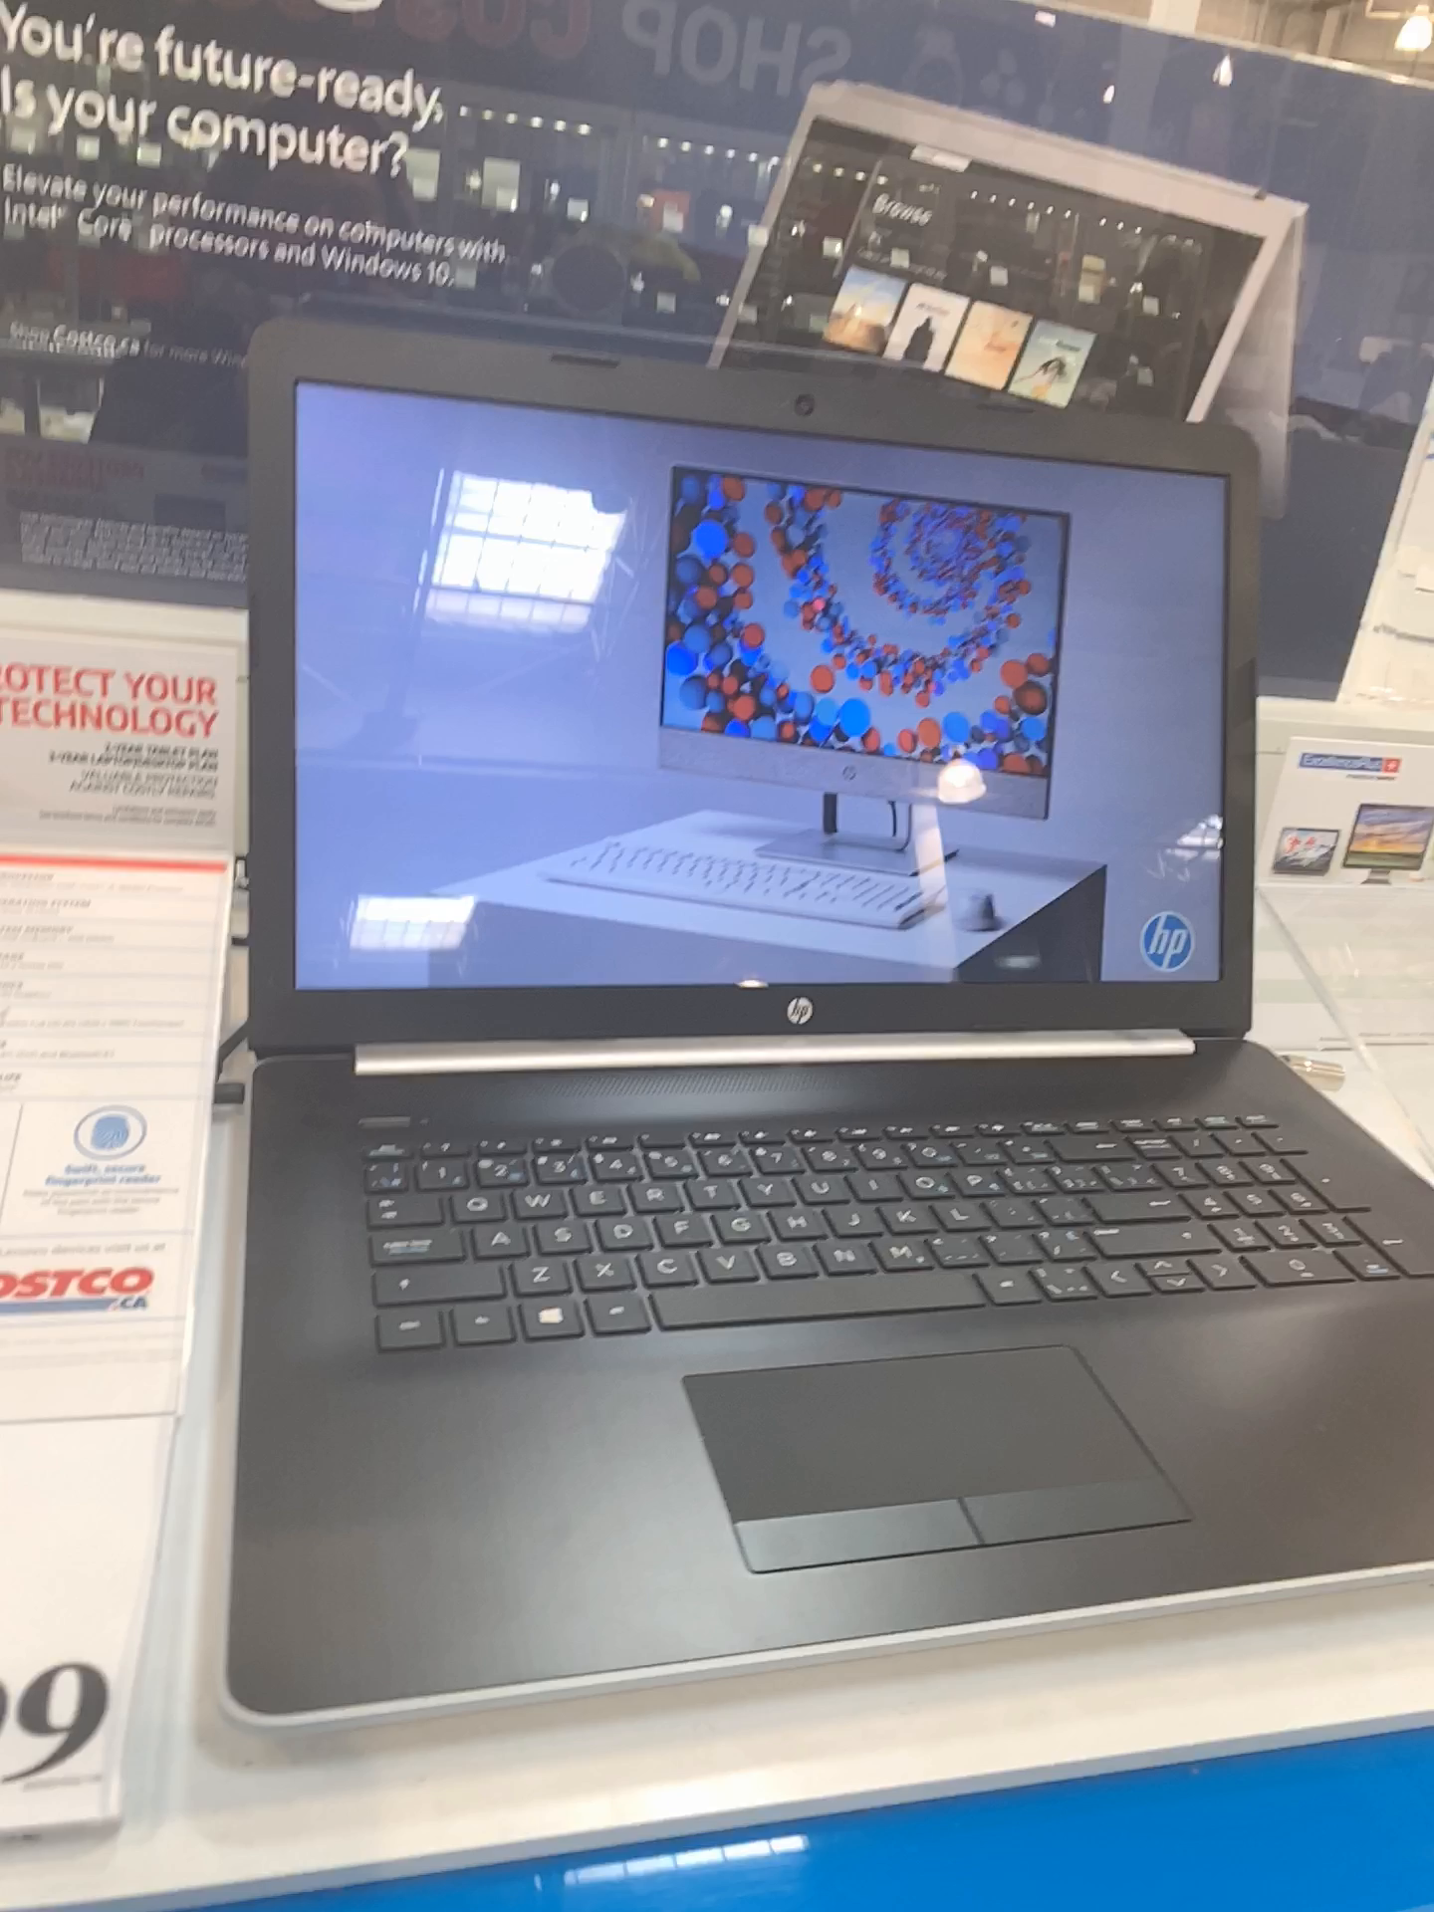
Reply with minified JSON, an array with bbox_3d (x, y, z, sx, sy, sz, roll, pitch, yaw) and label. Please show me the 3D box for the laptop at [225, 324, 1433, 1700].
[{"bbox_3d":[0.063,-0.041,0.453,0.395,0.234,0.371,0,23,-17],"label":"laptop"}]
